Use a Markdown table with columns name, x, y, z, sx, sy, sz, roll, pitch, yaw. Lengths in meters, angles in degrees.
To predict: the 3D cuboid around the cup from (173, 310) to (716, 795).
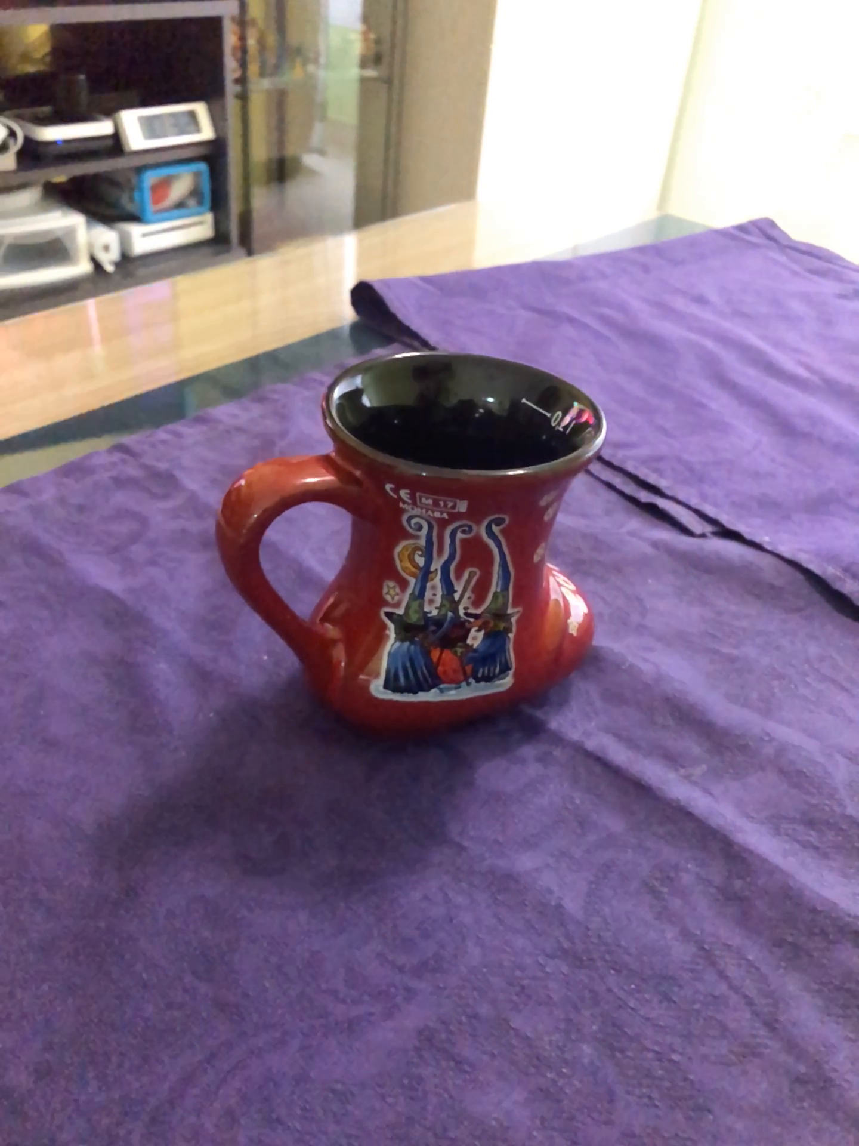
| name | x | y | z | sx | sy | sz | roll | pitch | yaw |
| --- | --- | --- | --- | --- | --- | --- | --- | --- | --- |
| cup | 0.001 | -0.012 | 0.271 | 0.120 | 0.090 | 0.070 | -14 | 40 | -26 |
